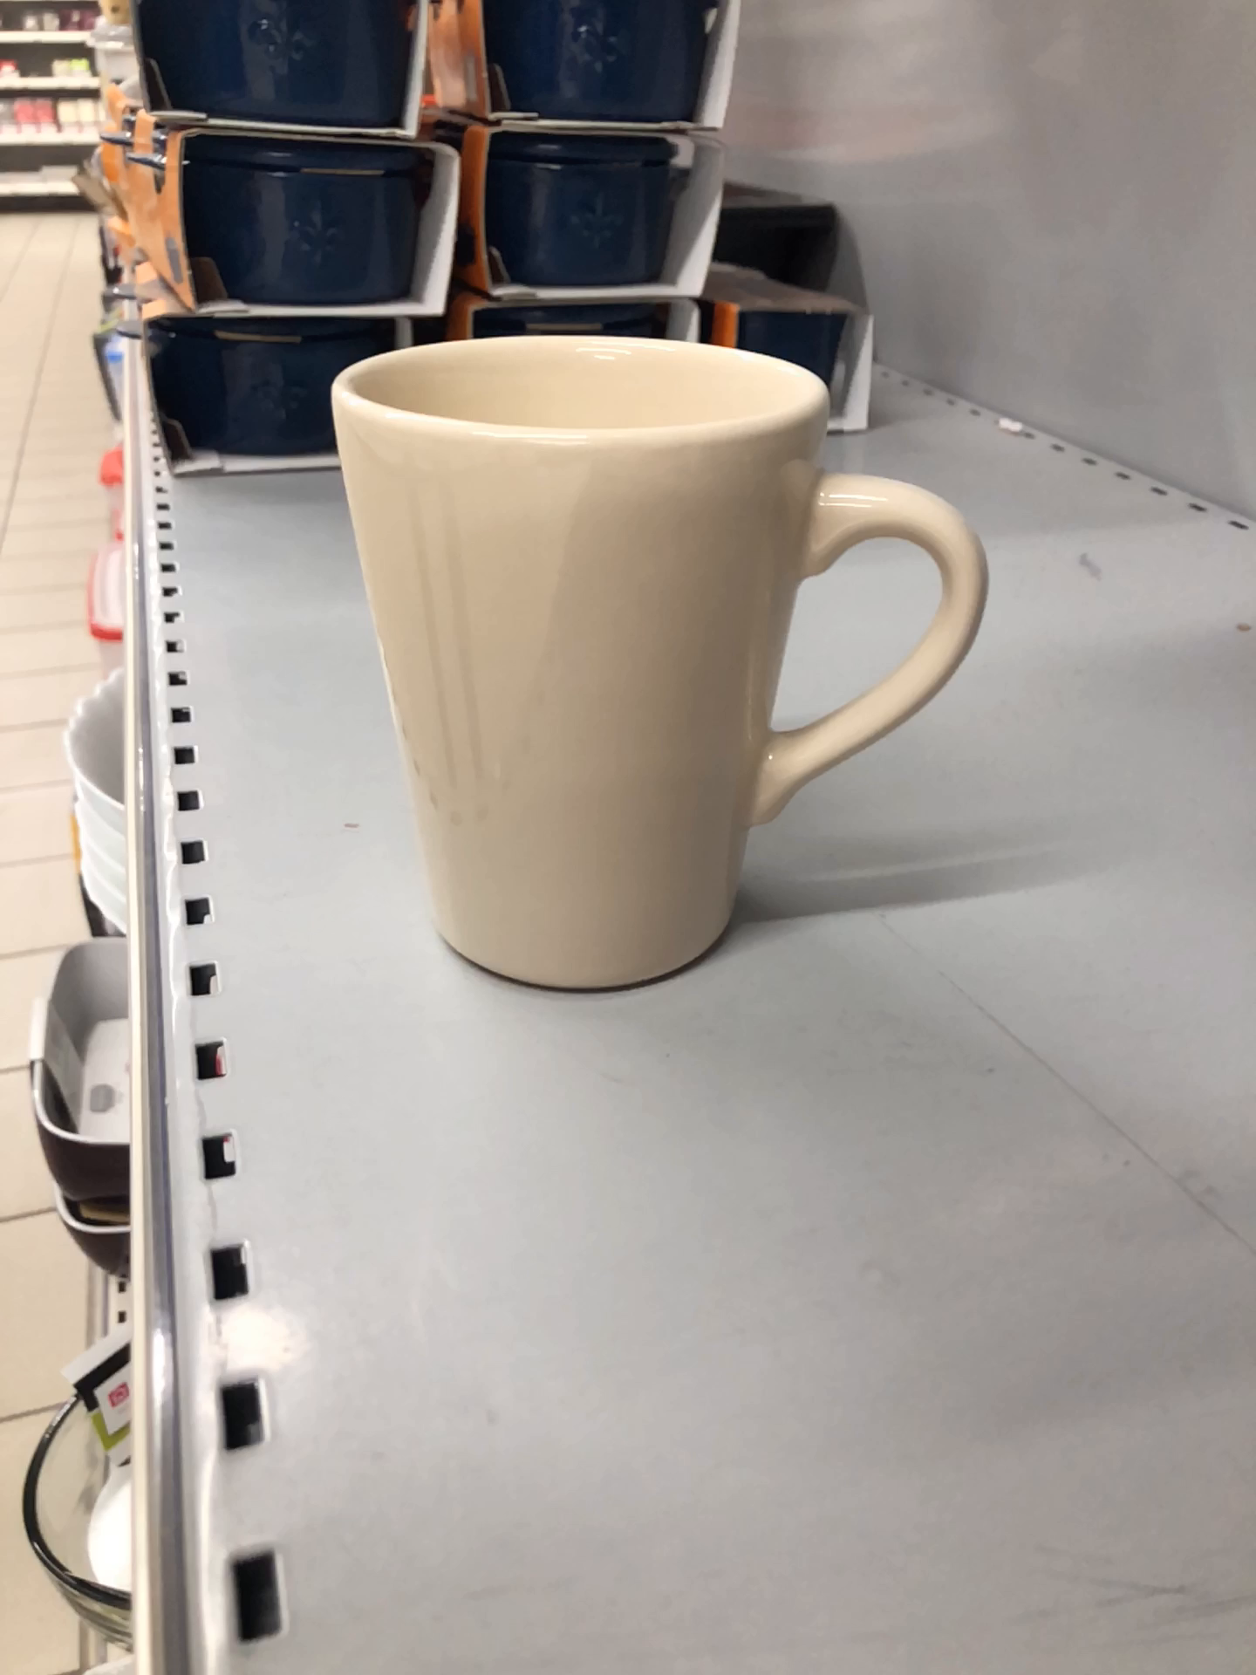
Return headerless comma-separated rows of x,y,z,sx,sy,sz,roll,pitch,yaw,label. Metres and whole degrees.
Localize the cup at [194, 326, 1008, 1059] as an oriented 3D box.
0.002,-0.033,0.256,0.119,0.099,0.082,7,30,12,cup
